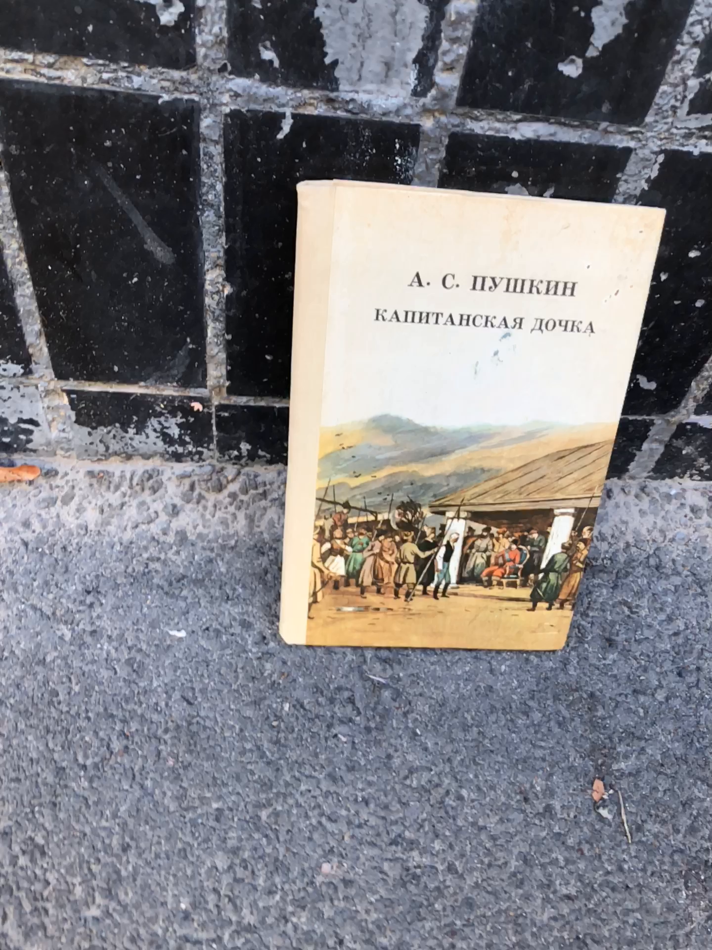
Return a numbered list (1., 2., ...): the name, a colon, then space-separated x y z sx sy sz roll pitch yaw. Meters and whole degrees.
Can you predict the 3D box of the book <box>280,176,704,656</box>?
1. book: 0.047 -0.011 0.350 0.150 0.214 0.020 3 28 -7
